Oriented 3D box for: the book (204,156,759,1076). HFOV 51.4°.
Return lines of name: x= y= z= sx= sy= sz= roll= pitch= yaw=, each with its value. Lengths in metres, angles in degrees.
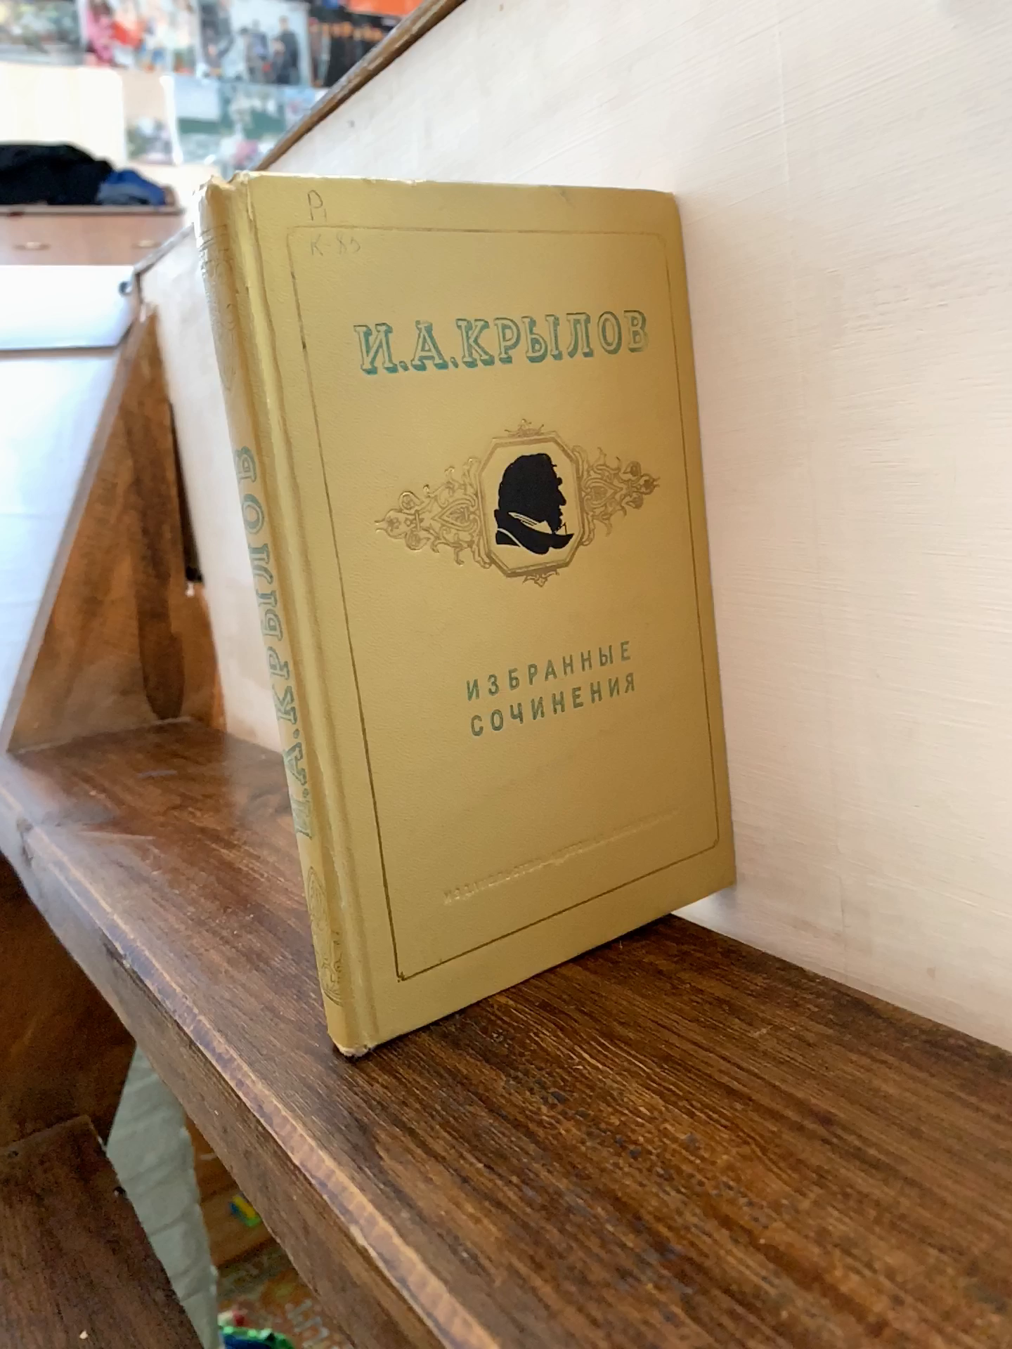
book: x=0.005 y=-0.020 z=0.276 sx=0.132 sy=0.206 sz=0.020 roll=-13 pitch=12 yaw=-33
